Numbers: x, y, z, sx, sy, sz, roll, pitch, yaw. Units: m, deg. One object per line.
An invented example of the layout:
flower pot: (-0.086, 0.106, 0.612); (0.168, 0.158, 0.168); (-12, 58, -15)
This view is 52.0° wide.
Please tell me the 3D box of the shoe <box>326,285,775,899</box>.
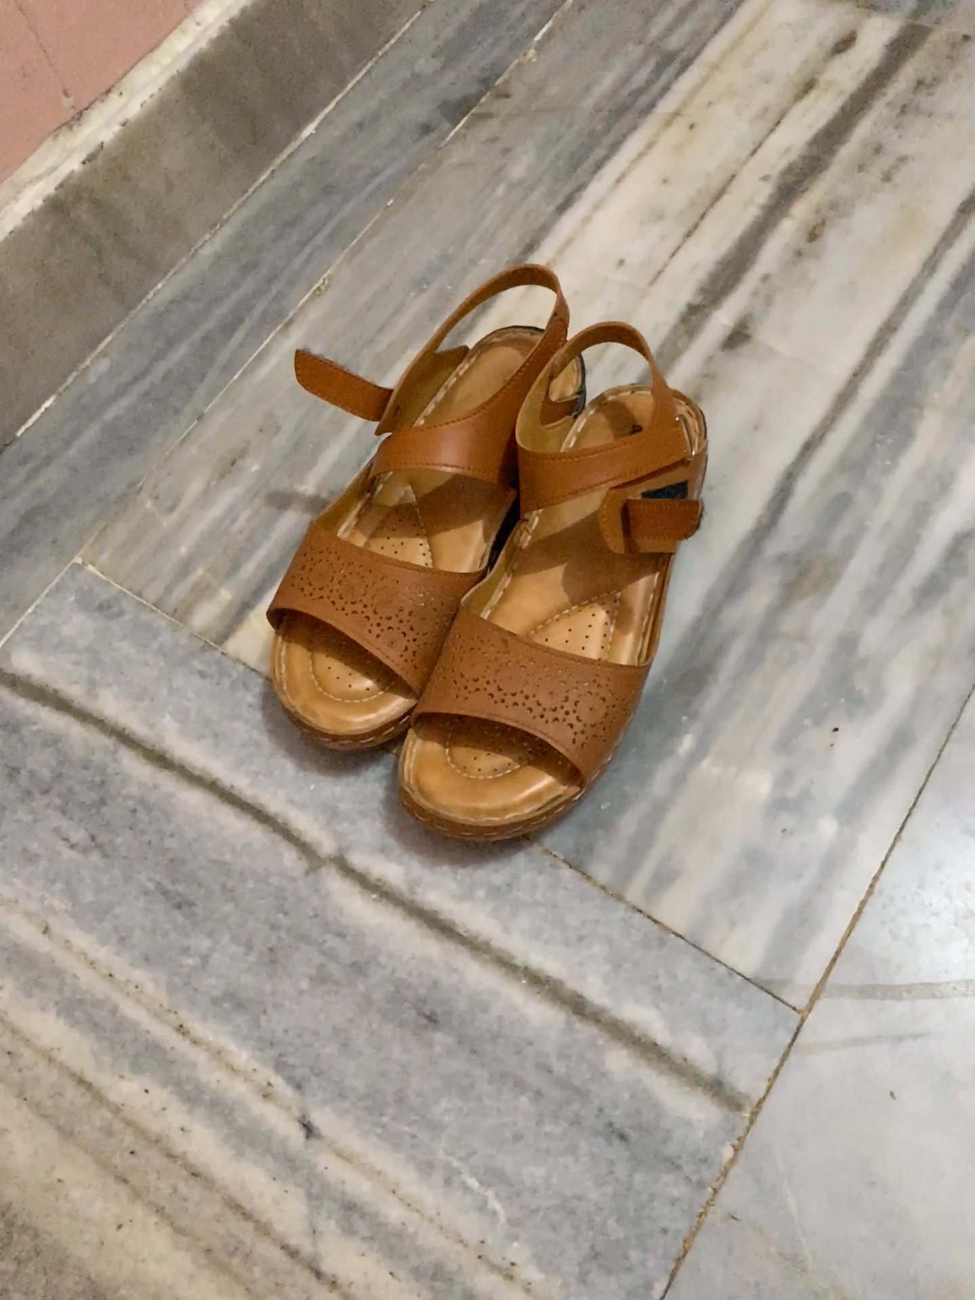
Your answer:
shoe: (0.040, -0.031, 0.466); (0.090, 0.100, 0.255); (21, 69, 18)

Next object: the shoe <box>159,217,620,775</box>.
shoe: (-0.033, -0.080, 0.498); (0.090, 0.100, 0.250); (25, 70, 20)
